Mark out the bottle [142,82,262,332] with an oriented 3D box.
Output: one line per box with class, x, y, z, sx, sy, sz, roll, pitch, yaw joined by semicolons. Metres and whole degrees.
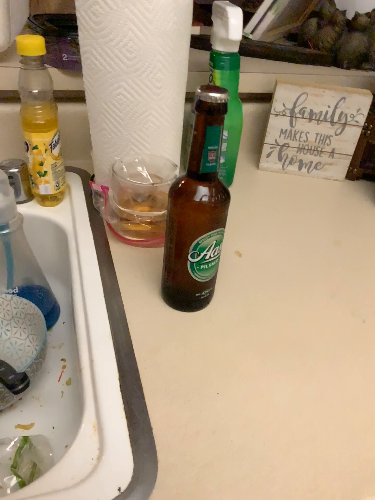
bottle;0.005;-0.033;0.406;0.070;0.230;0.060;-20;43;-32
